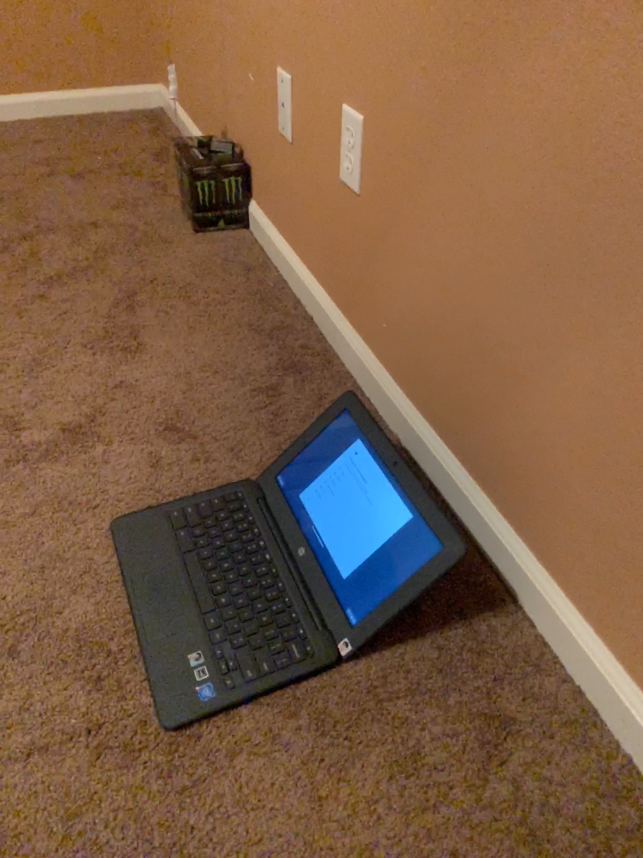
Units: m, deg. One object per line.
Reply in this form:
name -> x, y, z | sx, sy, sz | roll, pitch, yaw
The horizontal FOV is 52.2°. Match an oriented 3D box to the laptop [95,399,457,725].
laptop -> -0.066, 0.131, 0.784 | 0.331, 0.124, 0.289 | -14, 43, -18
